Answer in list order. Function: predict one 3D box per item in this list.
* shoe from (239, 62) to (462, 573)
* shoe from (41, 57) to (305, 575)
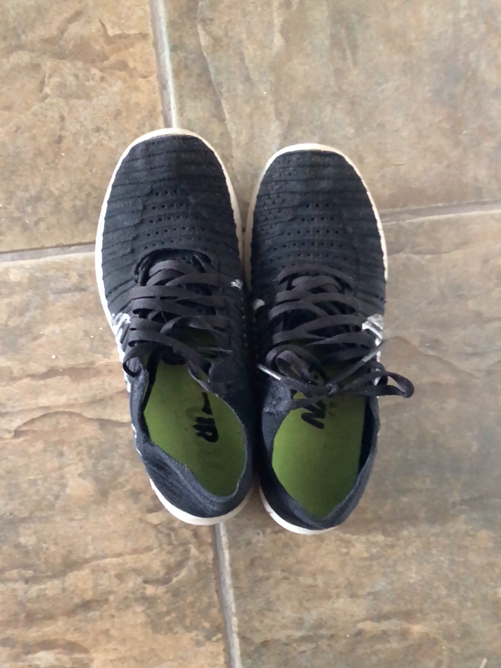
[{"bbox_3d":[0.050,-0.009,0.333,0.110,0.100,0.260,0,88,-3],"label":"shoe"},{"bbox_3d":[-0.043,-0.011,0.337,0.110,0.100,0.260,-6,88,-3],"label":"shoe"}]
